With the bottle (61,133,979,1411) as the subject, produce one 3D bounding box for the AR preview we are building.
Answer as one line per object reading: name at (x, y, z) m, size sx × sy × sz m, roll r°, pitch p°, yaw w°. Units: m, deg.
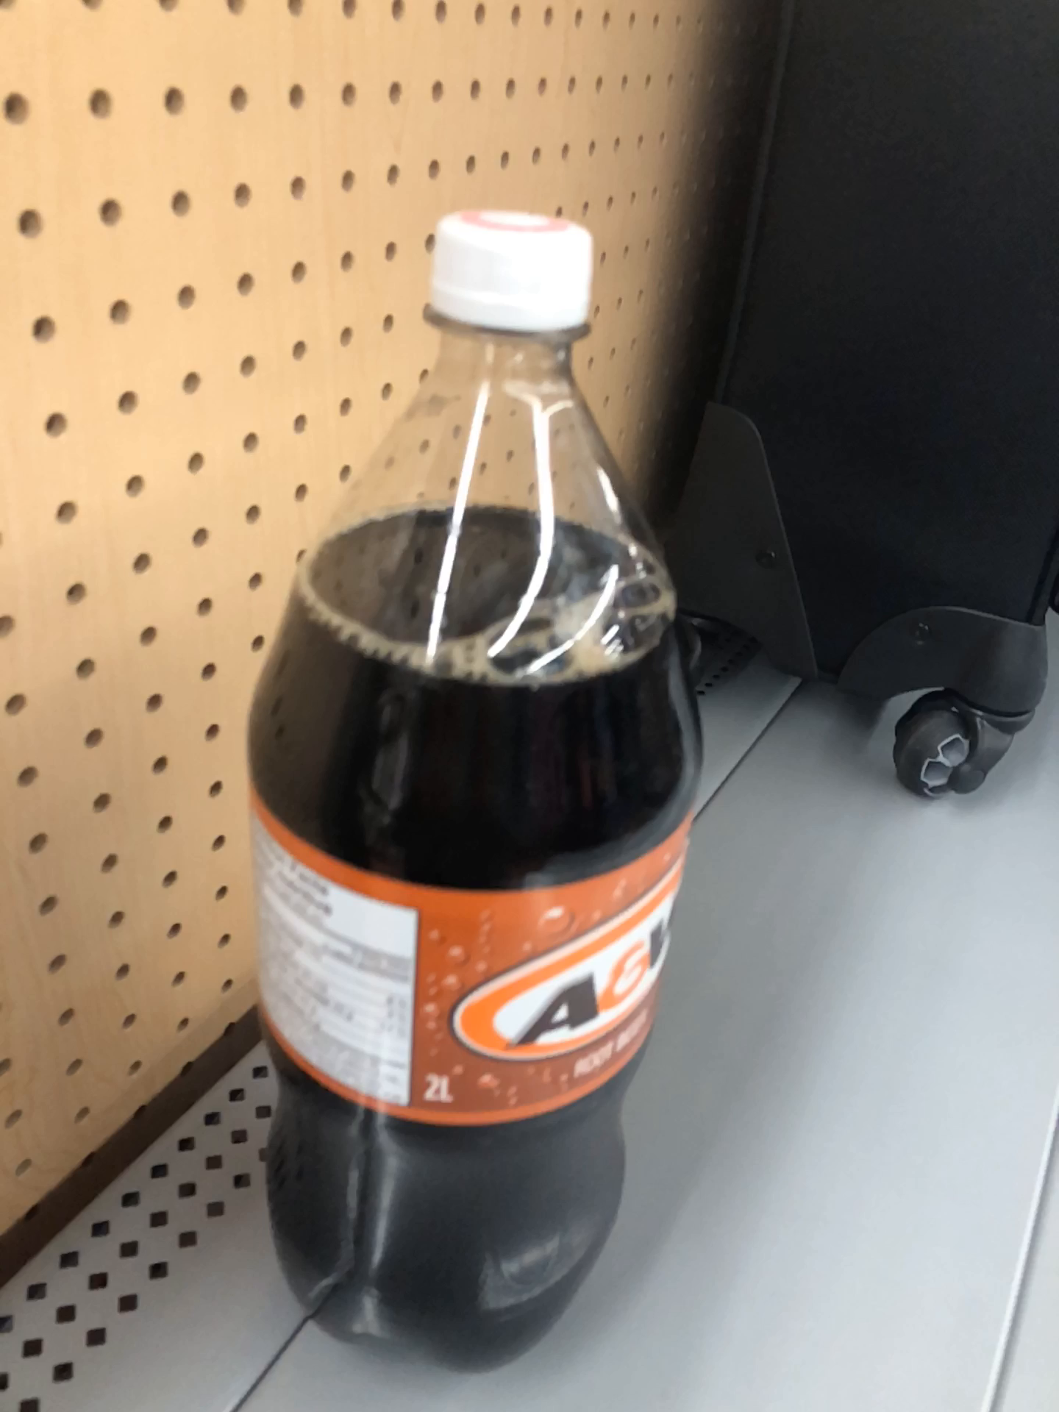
bottle at (-0.012, 0.036, 0.294) m, size 0.120 × 0.308 × 0.120 m, roll 4°, pitch 32°, yaw -3°
